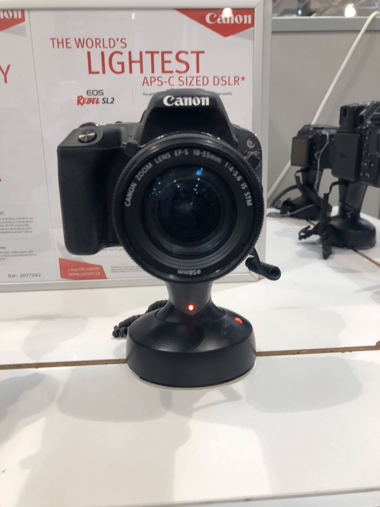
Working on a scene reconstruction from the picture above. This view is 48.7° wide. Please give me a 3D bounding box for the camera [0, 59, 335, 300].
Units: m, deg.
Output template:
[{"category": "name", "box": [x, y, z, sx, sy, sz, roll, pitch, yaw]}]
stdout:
[{"category": "camera", "box": [-0.013, -0.042, 0.220, 0.130, 0.090, 0.121, -1, 16, 0]}]
